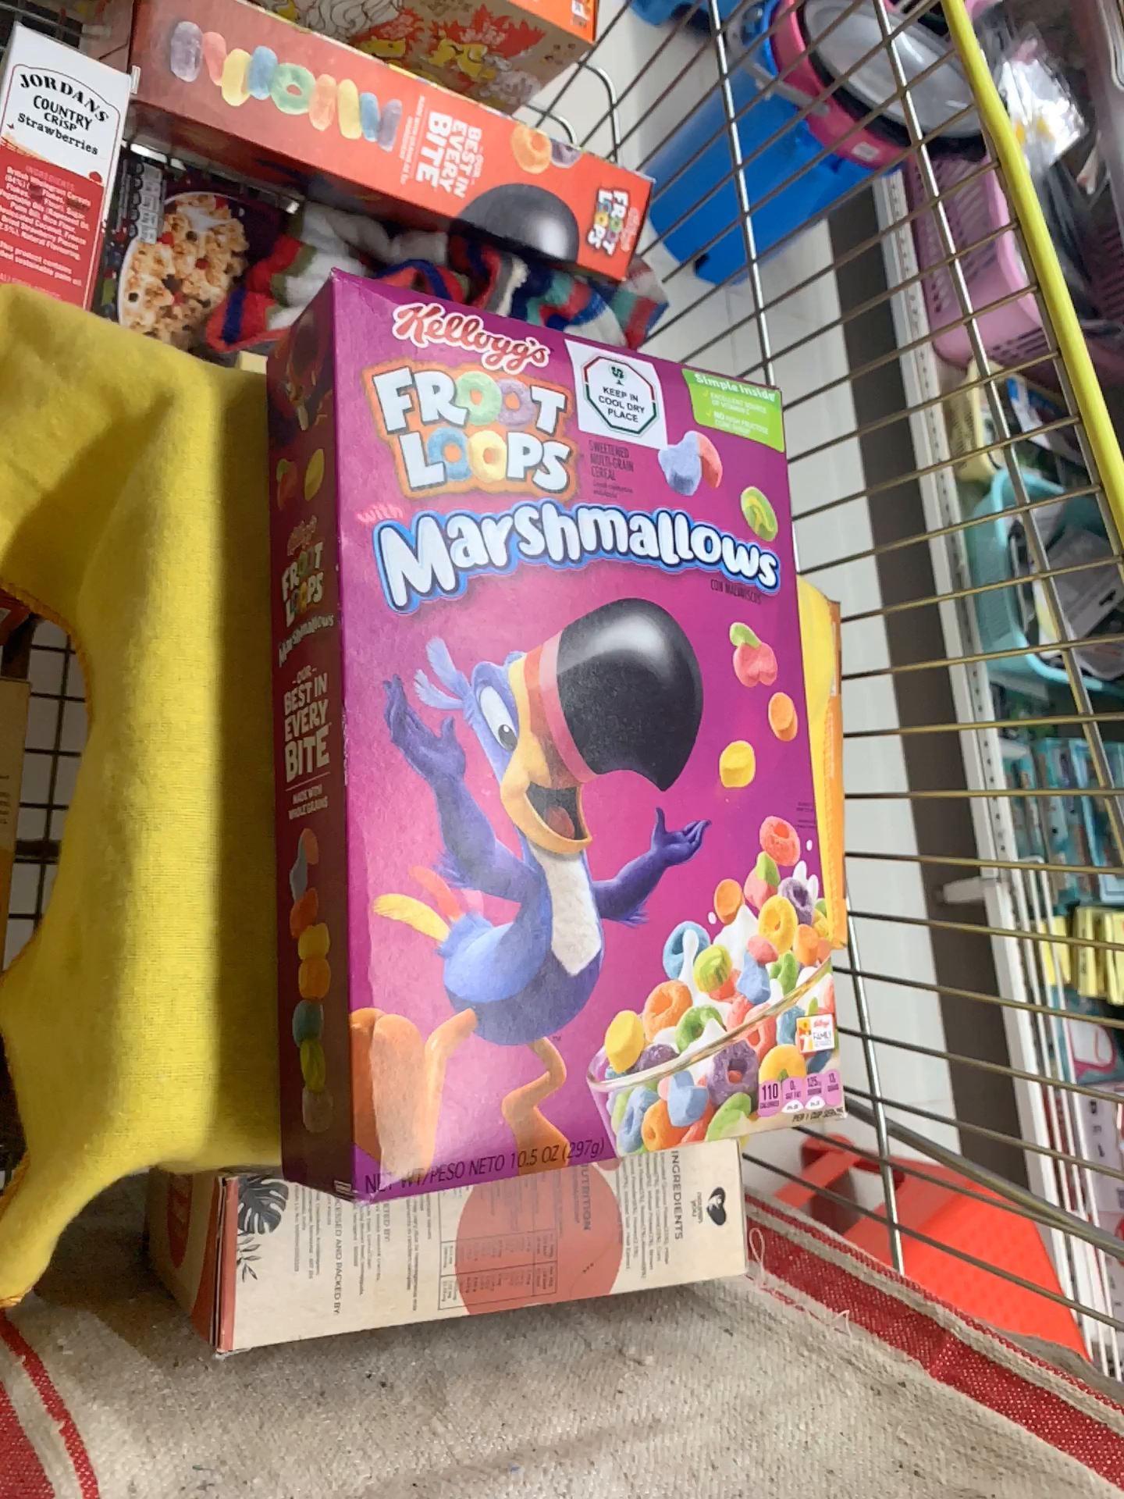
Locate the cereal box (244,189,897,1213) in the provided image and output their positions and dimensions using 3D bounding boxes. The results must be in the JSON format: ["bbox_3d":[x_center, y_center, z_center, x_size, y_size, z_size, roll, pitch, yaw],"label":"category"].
[{"bbox_3d":[0.002,-0.012,0.378,0.191,0.070,0.270,3,78,-33],"label":"cereal box"}]
